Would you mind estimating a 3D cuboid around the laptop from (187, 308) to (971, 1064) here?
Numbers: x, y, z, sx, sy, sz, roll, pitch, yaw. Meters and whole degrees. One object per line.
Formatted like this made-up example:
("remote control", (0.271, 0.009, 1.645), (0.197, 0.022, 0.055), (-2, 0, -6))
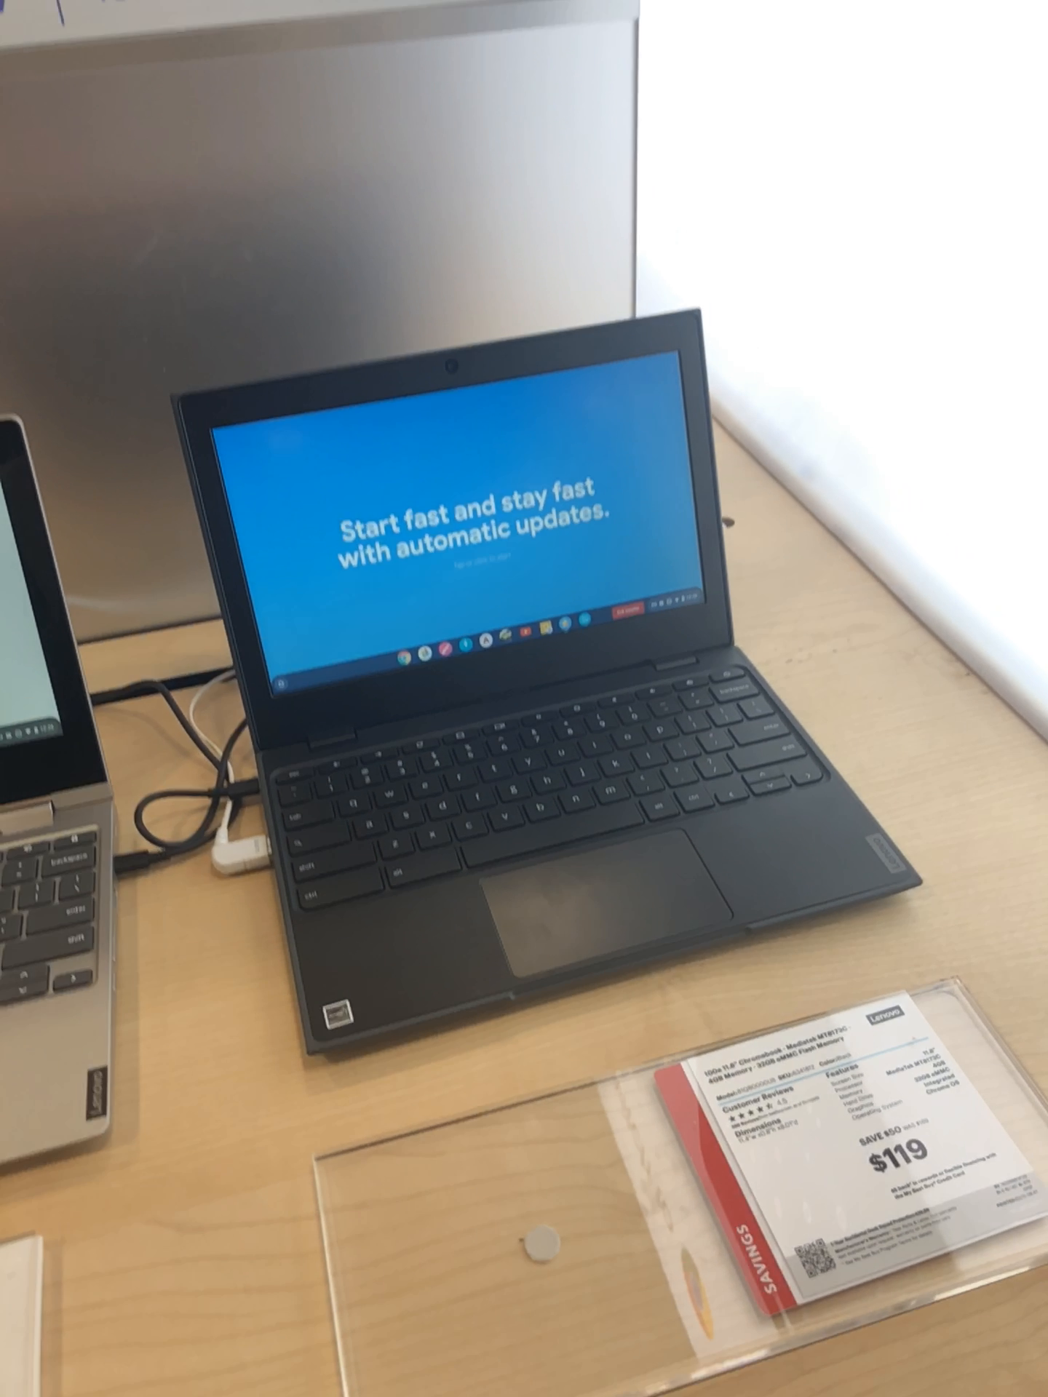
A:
("laptop", (0.003, -0.033, 0.559), (0.281, 0.178, 0.272), (-13, 38, -11))
